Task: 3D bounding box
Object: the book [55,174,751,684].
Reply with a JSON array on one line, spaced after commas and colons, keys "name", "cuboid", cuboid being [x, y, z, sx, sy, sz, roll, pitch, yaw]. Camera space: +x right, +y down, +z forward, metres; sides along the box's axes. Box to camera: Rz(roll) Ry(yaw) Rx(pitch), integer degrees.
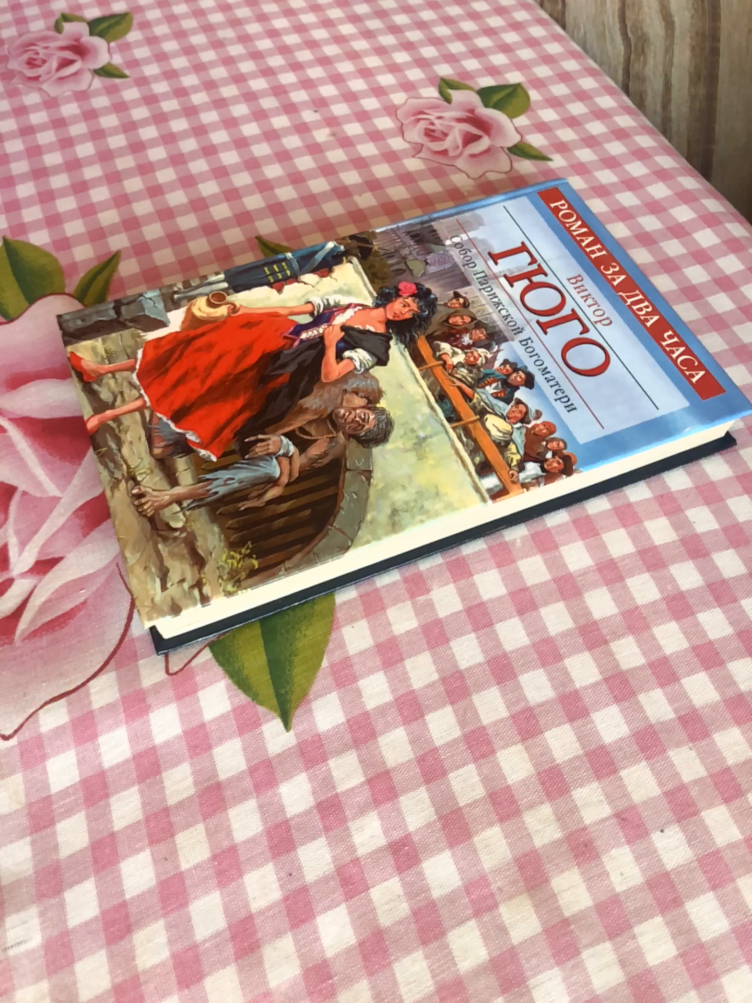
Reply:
[{"name": "book", "cuboid": [0.008, -0.039, 0.293, 0.207, 0.028, 0.136, -19, 59, -12]}]
